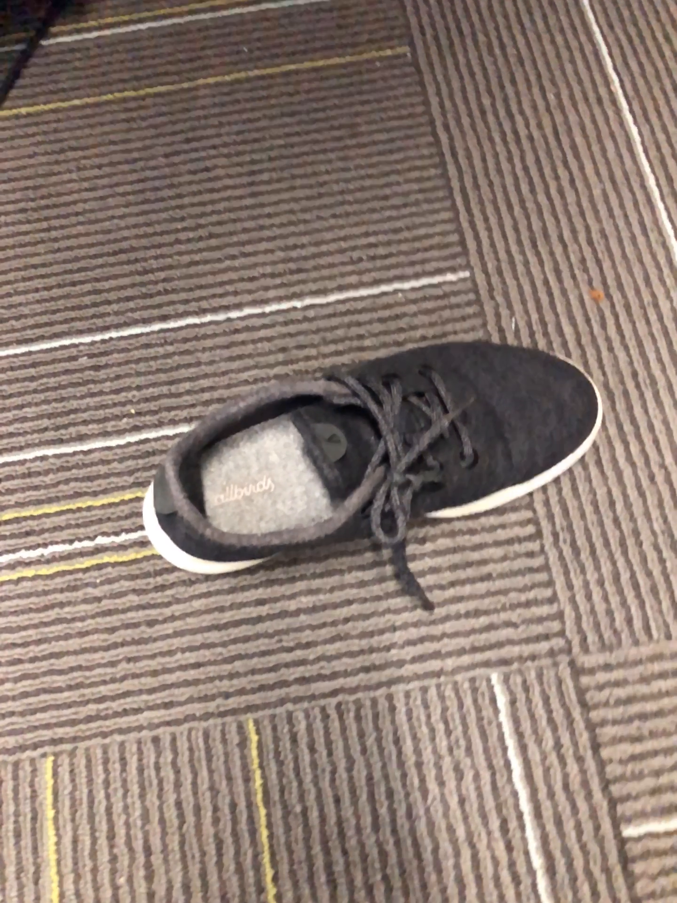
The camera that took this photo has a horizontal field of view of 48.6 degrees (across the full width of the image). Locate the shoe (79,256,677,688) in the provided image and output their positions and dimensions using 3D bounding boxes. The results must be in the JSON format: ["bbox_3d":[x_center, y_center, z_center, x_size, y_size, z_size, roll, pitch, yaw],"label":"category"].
[{"bbox_3d":[0.022,0.010,0.404,0.280,0.060,0.140,-18,71,-4],"label":"shoe"}]
